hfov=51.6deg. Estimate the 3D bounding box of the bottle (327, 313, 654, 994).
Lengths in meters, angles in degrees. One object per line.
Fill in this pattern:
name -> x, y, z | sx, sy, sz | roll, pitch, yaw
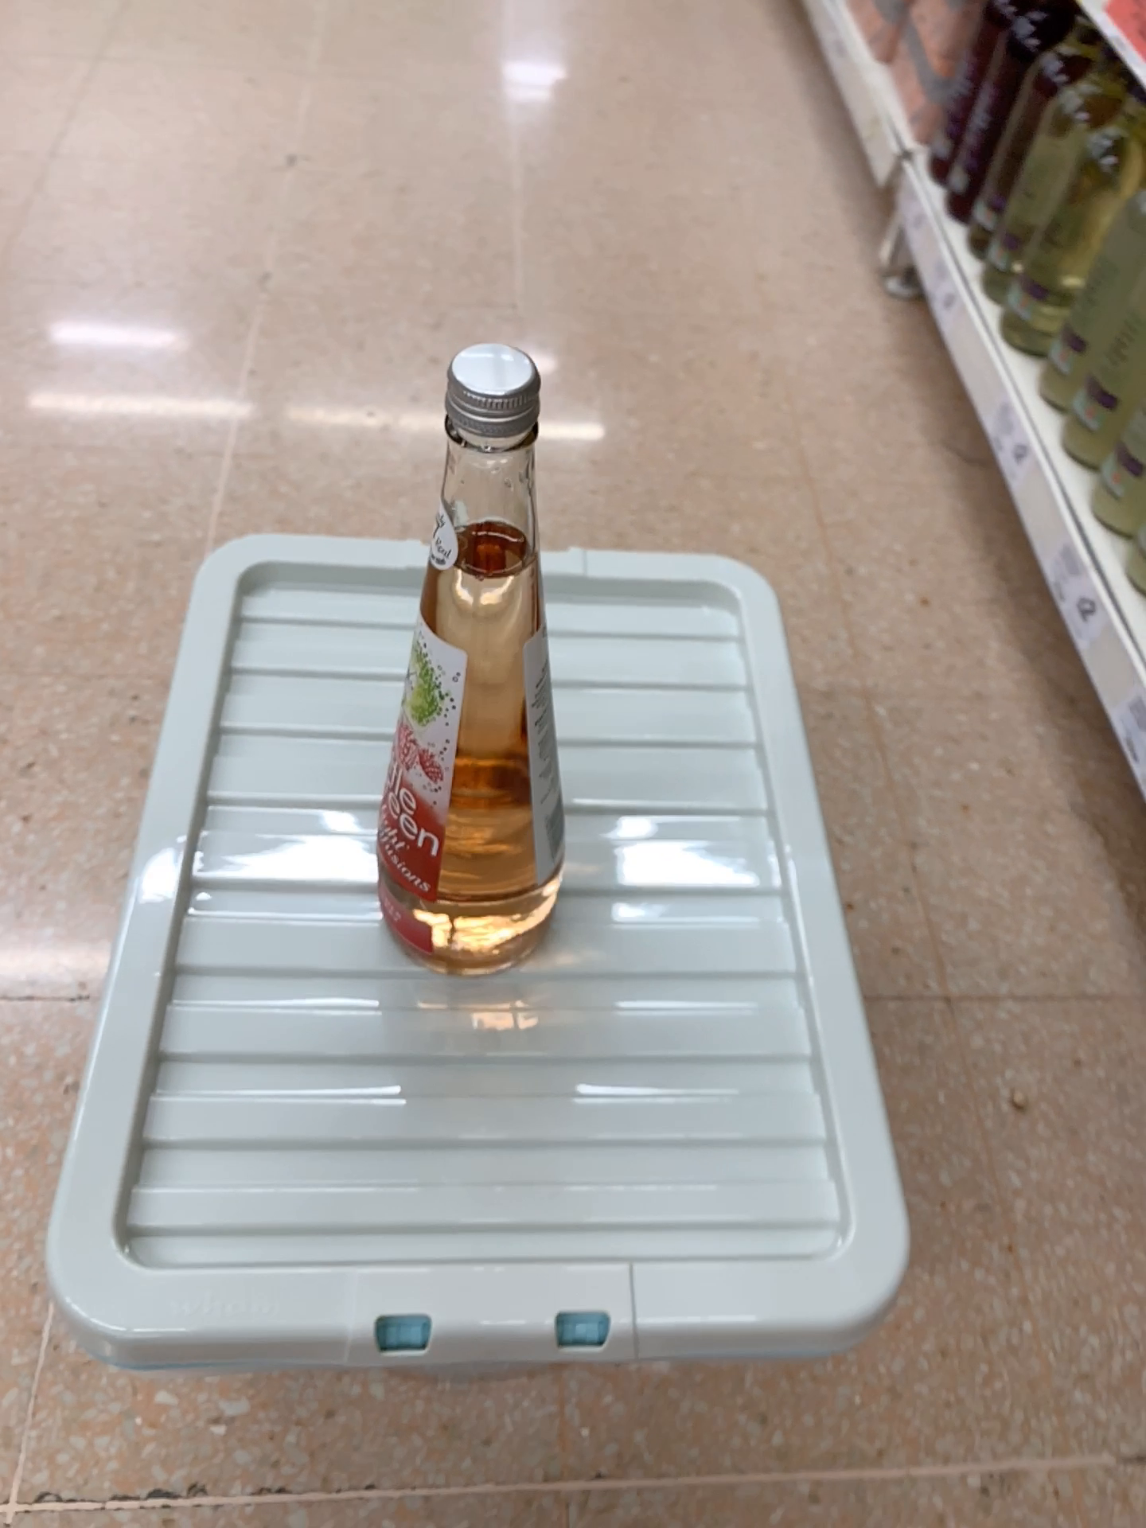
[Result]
bottle -> -0.039, -0.018, 0.468 | 0.090, 0.299, 0.081 | -1, 52, -7
